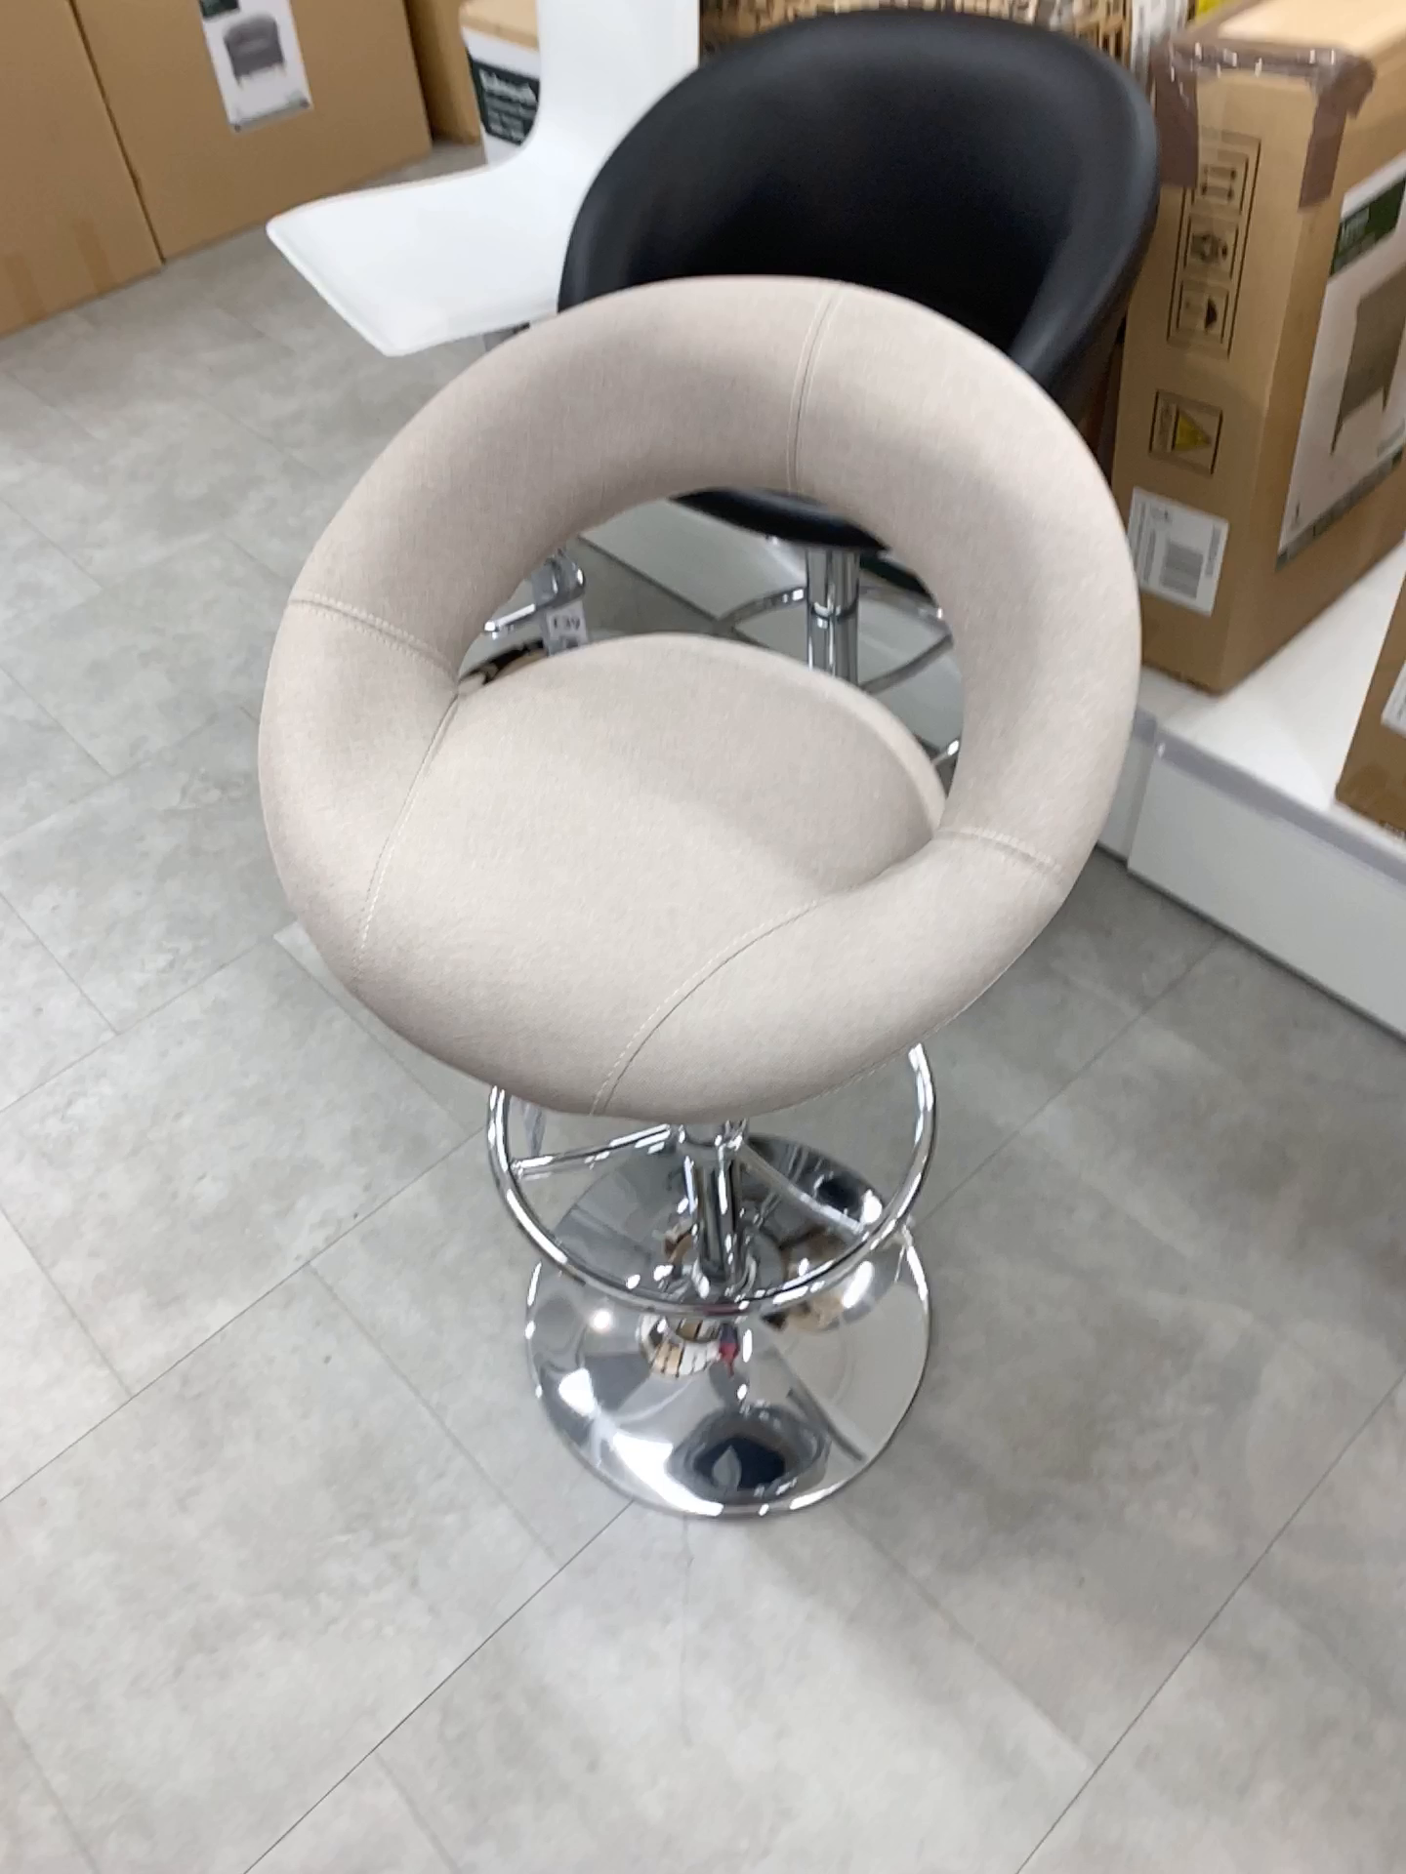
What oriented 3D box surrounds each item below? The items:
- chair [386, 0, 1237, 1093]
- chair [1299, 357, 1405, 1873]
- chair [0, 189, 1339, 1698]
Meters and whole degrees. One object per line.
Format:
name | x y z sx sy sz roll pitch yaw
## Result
chair | 0.122 -0.389 1.538 0.518 0.933 0.485 29 58 27
chair | 0.898 0.211 0.961 0.544 0.864 0.520 -26 52 -17
chair | -0.003 0.068 1.112 0.568 0.963 0.486 26 56 25
